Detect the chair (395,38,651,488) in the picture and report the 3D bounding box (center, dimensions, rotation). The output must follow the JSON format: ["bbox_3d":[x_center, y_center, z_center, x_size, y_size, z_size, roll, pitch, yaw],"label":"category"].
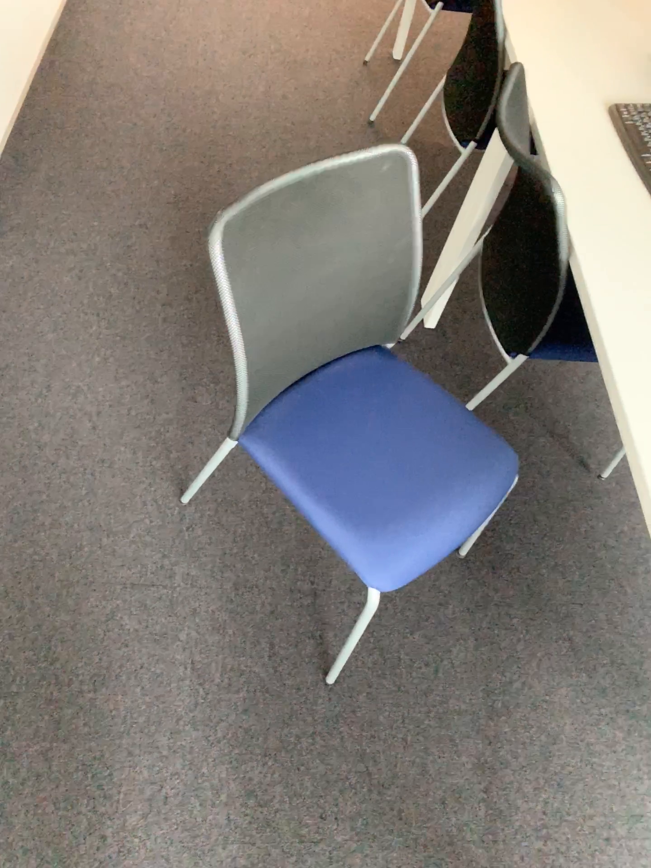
[{"bbox_3d":[0.626,-0.347,1.670,0.650,0.867,0.572,5,56,-9],"label":"chair"}]

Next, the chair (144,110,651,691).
[{"bbox_3d":[0.079,-0.022,1.332,0.572,0.827,0.630,-33,69,-29],"label":"chair"}]
